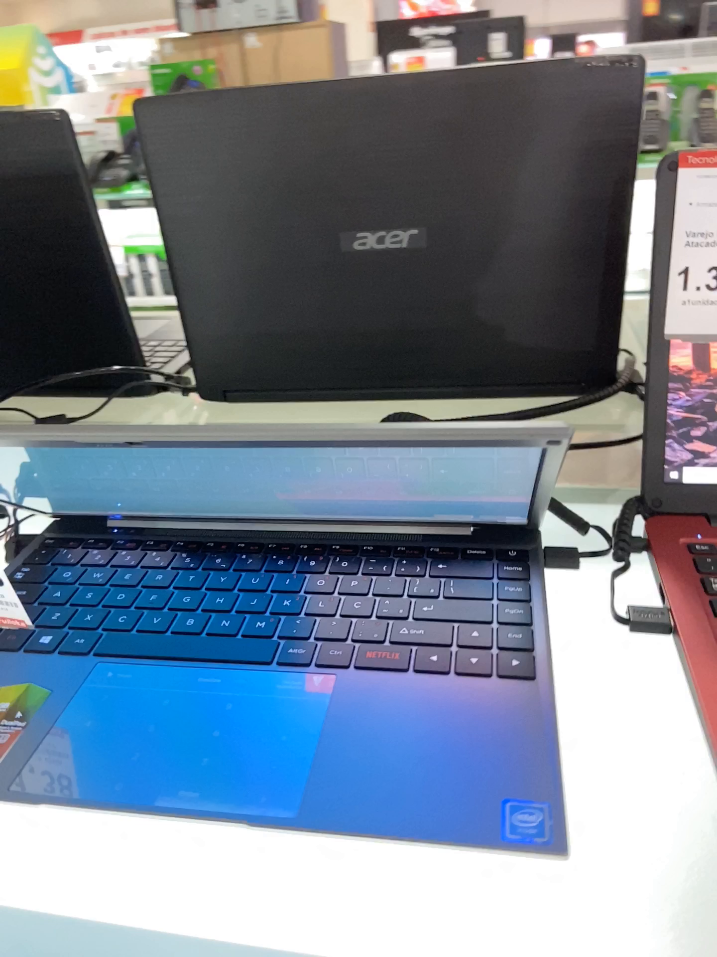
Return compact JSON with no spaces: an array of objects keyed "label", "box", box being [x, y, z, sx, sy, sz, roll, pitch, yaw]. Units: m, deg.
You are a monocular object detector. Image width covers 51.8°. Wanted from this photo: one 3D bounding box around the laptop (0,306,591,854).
[{"label":"laptop","box":[-0.073,0.021,0.356,0.327,0.139,0.212,1,28,11]}]
